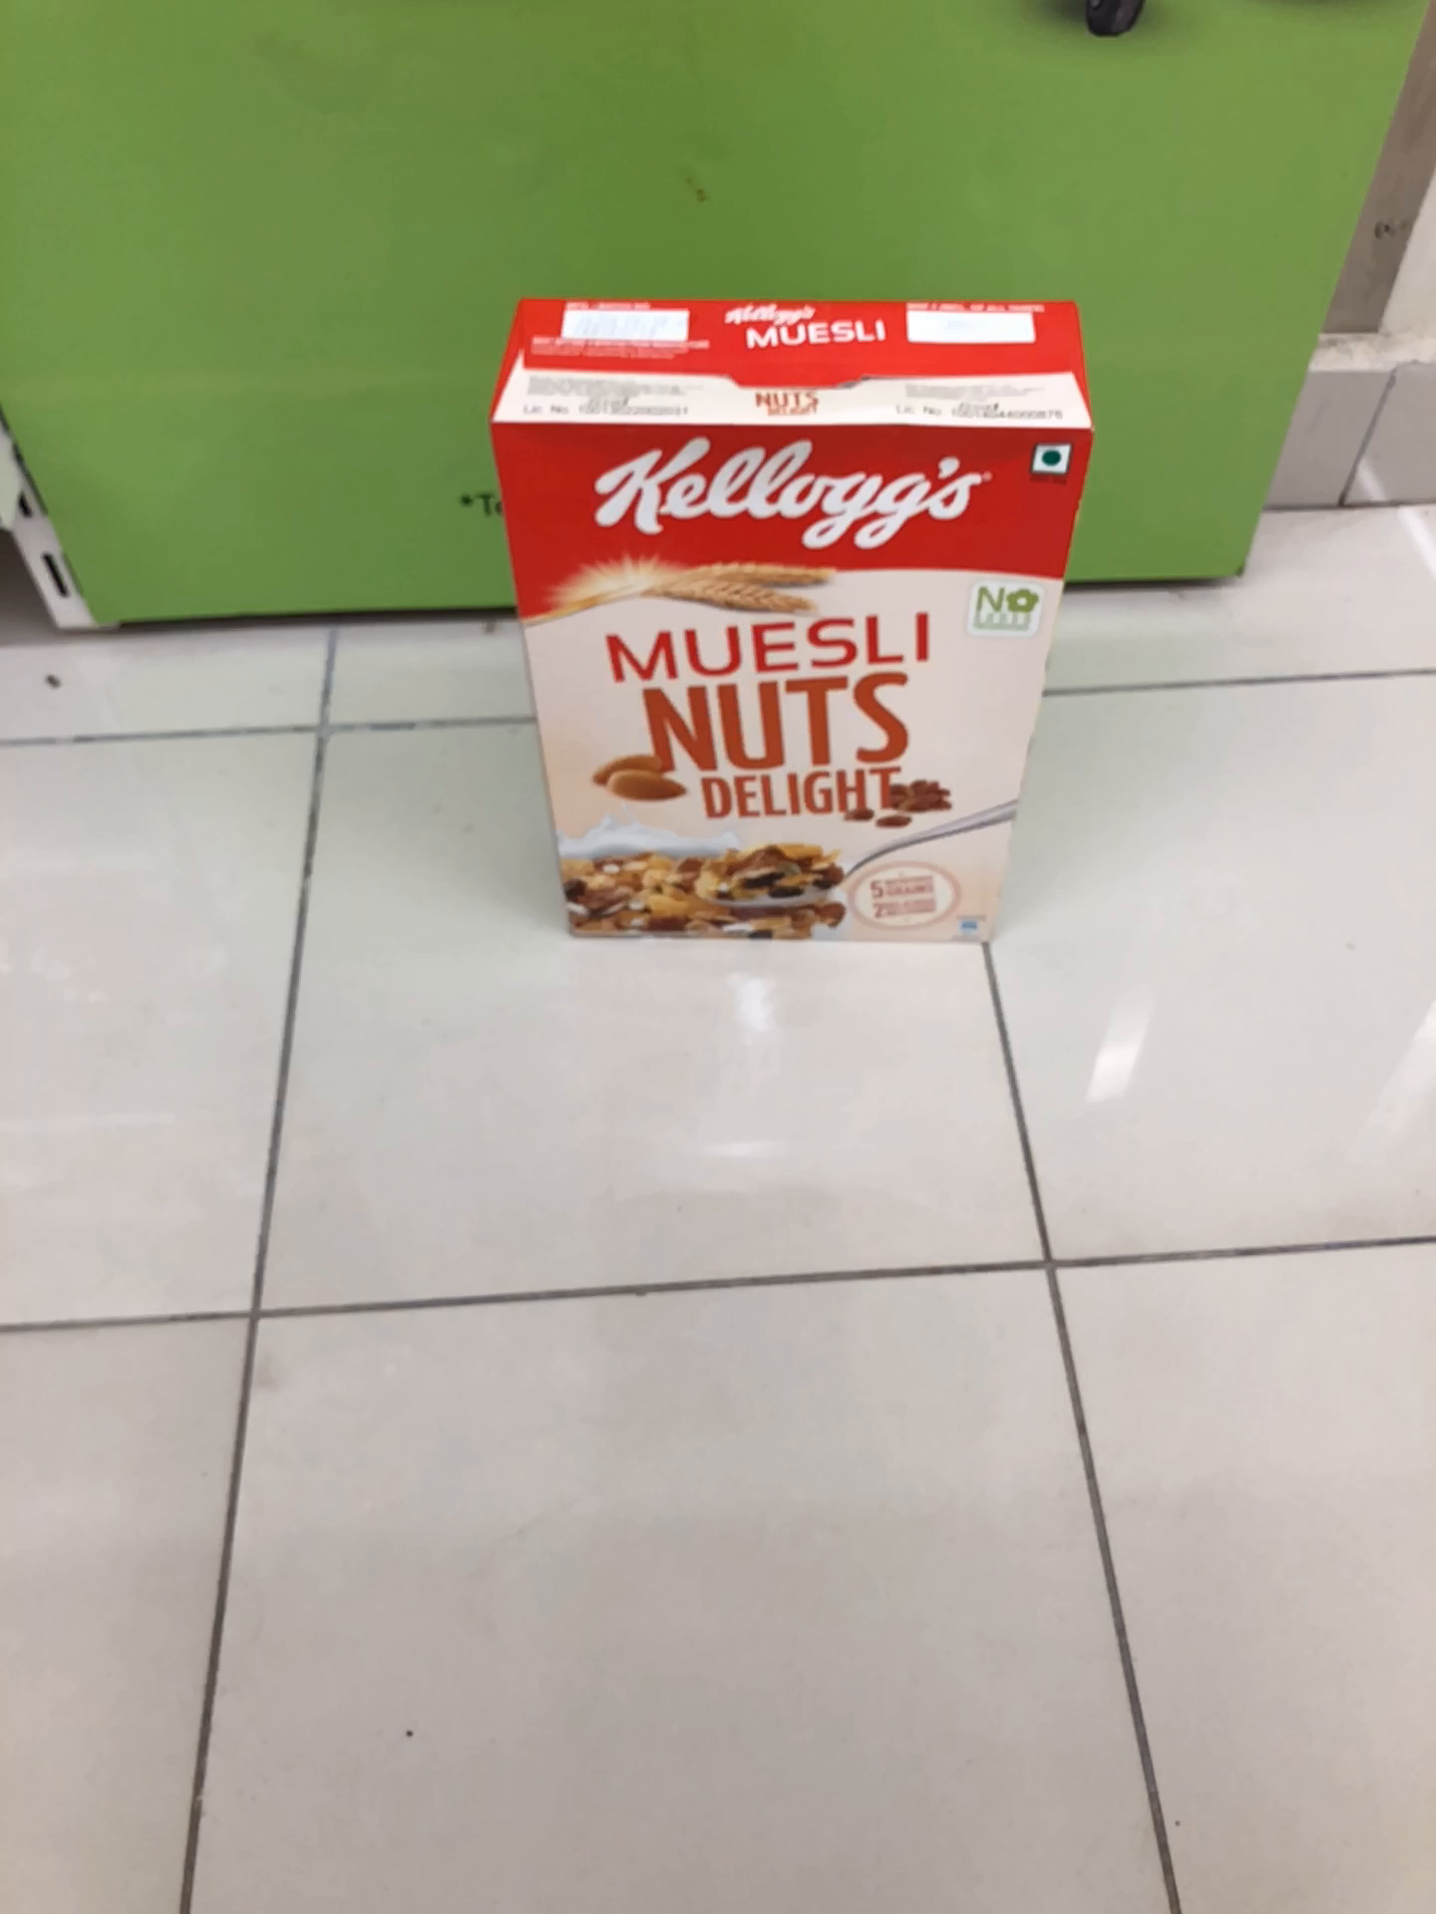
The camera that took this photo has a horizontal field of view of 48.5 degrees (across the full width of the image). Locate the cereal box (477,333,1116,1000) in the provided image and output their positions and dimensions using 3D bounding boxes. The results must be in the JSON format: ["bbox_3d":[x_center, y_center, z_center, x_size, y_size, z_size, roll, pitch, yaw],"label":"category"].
[{"bbox_3d":[0.027,-0.098,0.629,0.200,0.268,0.080,1,51,1],"label":"cereal box"}]
